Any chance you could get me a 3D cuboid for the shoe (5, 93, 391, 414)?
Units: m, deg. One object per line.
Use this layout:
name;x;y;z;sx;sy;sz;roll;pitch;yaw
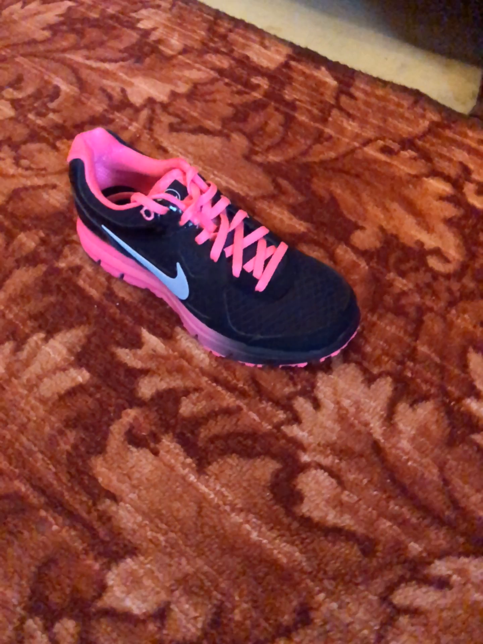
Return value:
shoe;-0.034;-0.056;0.395;0.240;0.110;0.100;29;60;19
